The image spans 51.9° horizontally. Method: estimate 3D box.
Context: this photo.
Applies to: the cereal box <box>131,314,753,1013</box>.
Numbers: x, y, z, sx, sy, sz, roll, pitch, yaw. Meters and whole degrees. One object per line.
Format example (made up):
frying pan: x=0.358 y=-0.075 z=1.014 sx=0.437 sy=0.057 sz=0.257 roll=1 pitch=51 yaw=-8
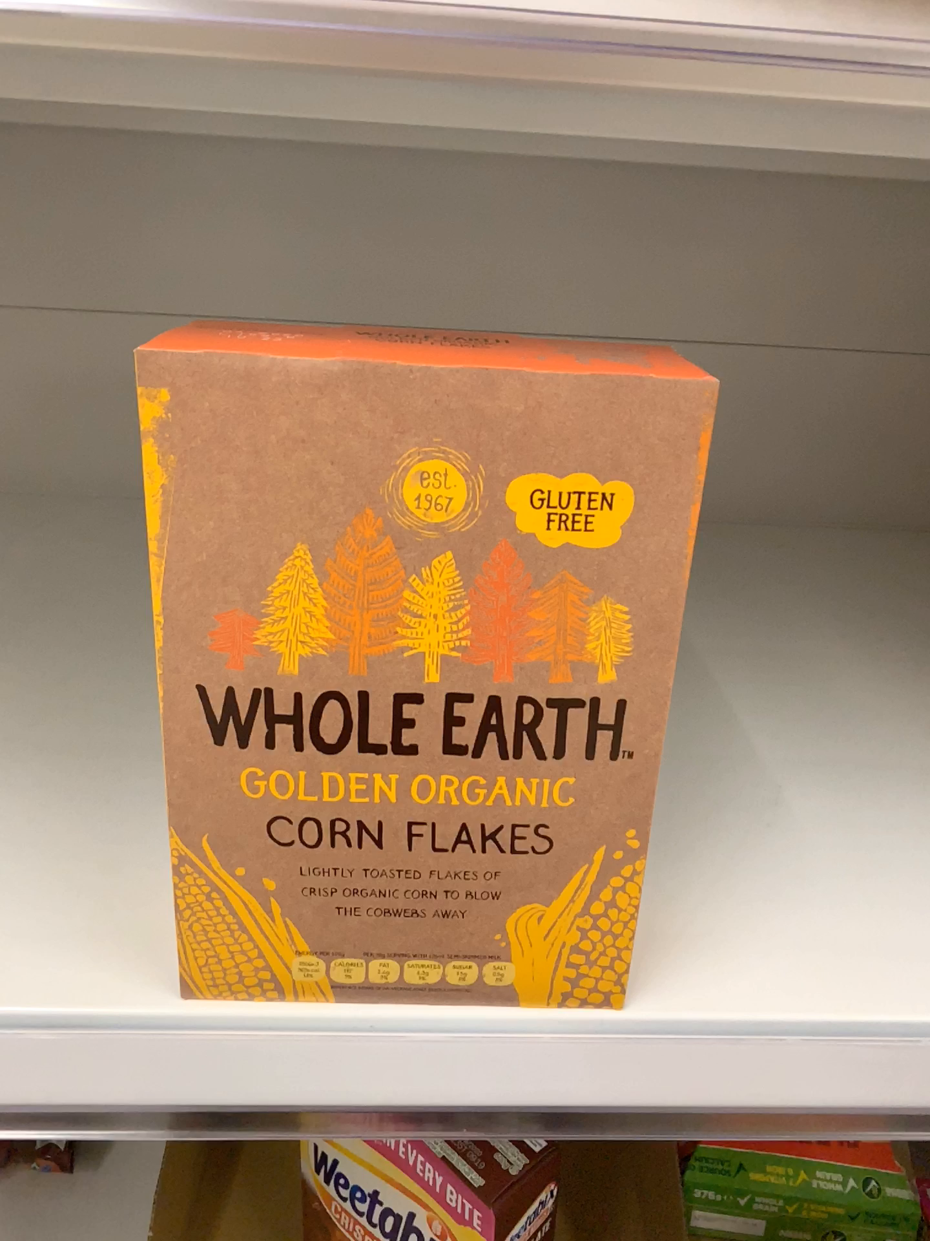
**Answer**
cereal box: x=-0.014 y=0.022 z=0.399 sx=0.200 sy=0.268 sz=0.091 roll=3 pitch=22 yaw=-2
